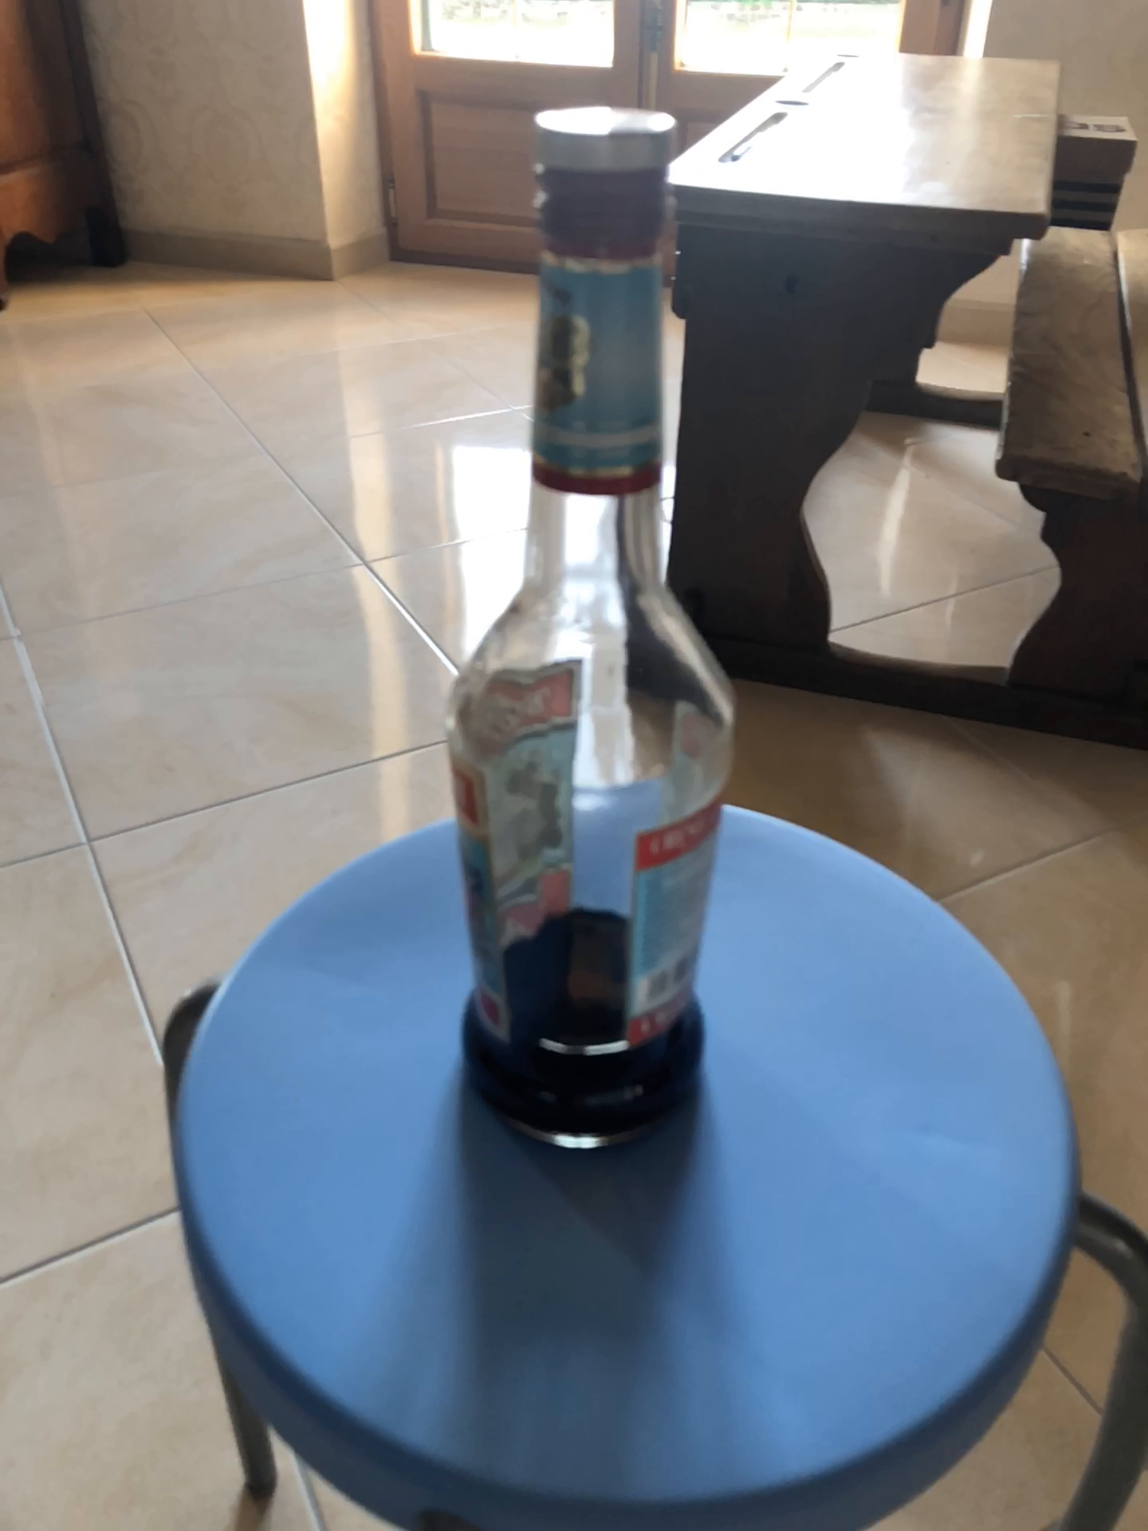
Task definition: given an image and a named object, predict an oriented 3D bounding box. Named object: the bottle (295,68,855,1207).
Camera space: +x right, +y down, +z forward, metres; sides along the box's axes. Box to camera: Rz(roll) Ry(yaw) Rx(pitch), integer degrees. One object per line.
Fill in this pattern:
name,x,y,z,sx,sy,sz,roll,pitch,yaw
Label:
bottle,0.003,-0.019,0.351,0.090,0.298,0.091,0,35,0
